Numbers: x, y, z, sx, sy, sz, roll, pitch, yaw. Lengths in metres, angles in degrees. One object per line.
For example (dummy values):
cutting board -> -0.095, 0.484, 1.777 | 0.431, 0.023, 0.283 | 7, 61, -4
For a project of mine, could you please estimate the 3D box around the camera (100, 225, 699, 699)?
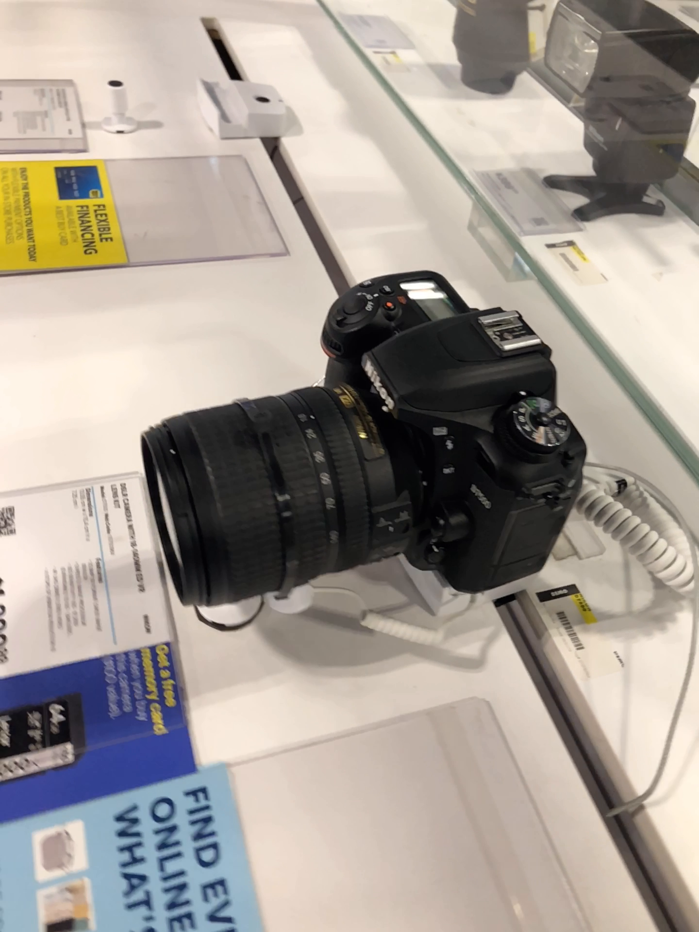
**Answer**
camera -> 0.011, -0.015, 0.327 | 0.190, 0.089, 0.141 | -14, 51, -20
